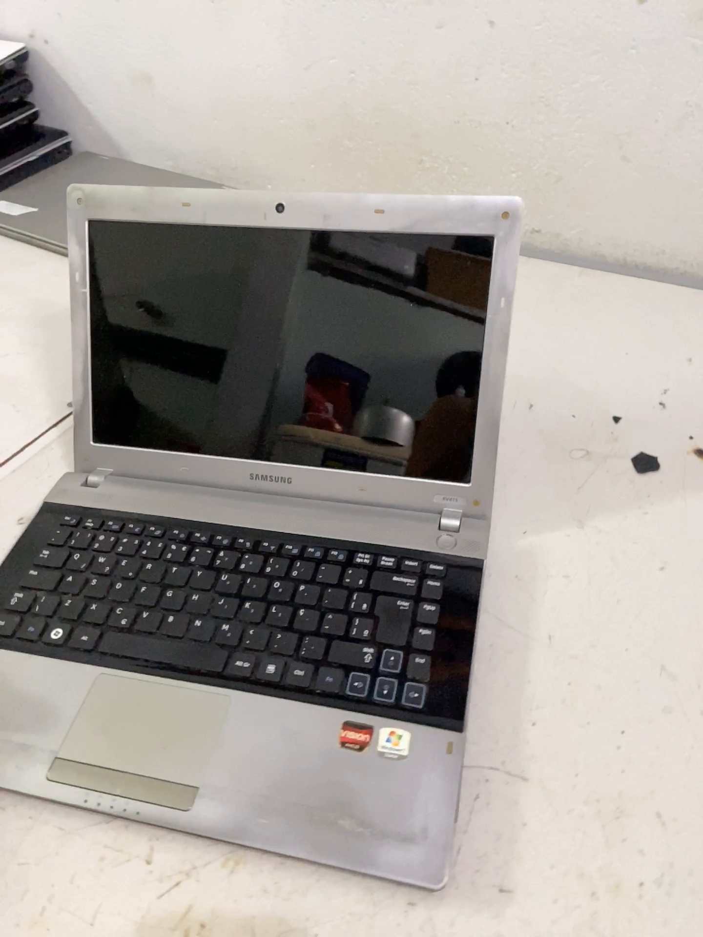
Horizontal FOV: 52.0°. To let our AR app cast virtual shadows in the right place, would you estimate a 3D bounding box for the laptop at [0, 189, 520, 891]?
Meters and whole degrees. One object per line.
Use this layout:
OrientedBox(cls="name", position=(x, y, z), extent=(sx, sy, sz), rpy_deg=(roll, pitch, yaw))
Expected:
OrientedBox(cls="laptop", position=(-0.088, -0.005, 0.454), extent=(0.342, 0.180, 0.368), rpy_deg=(6, 46, 13))
